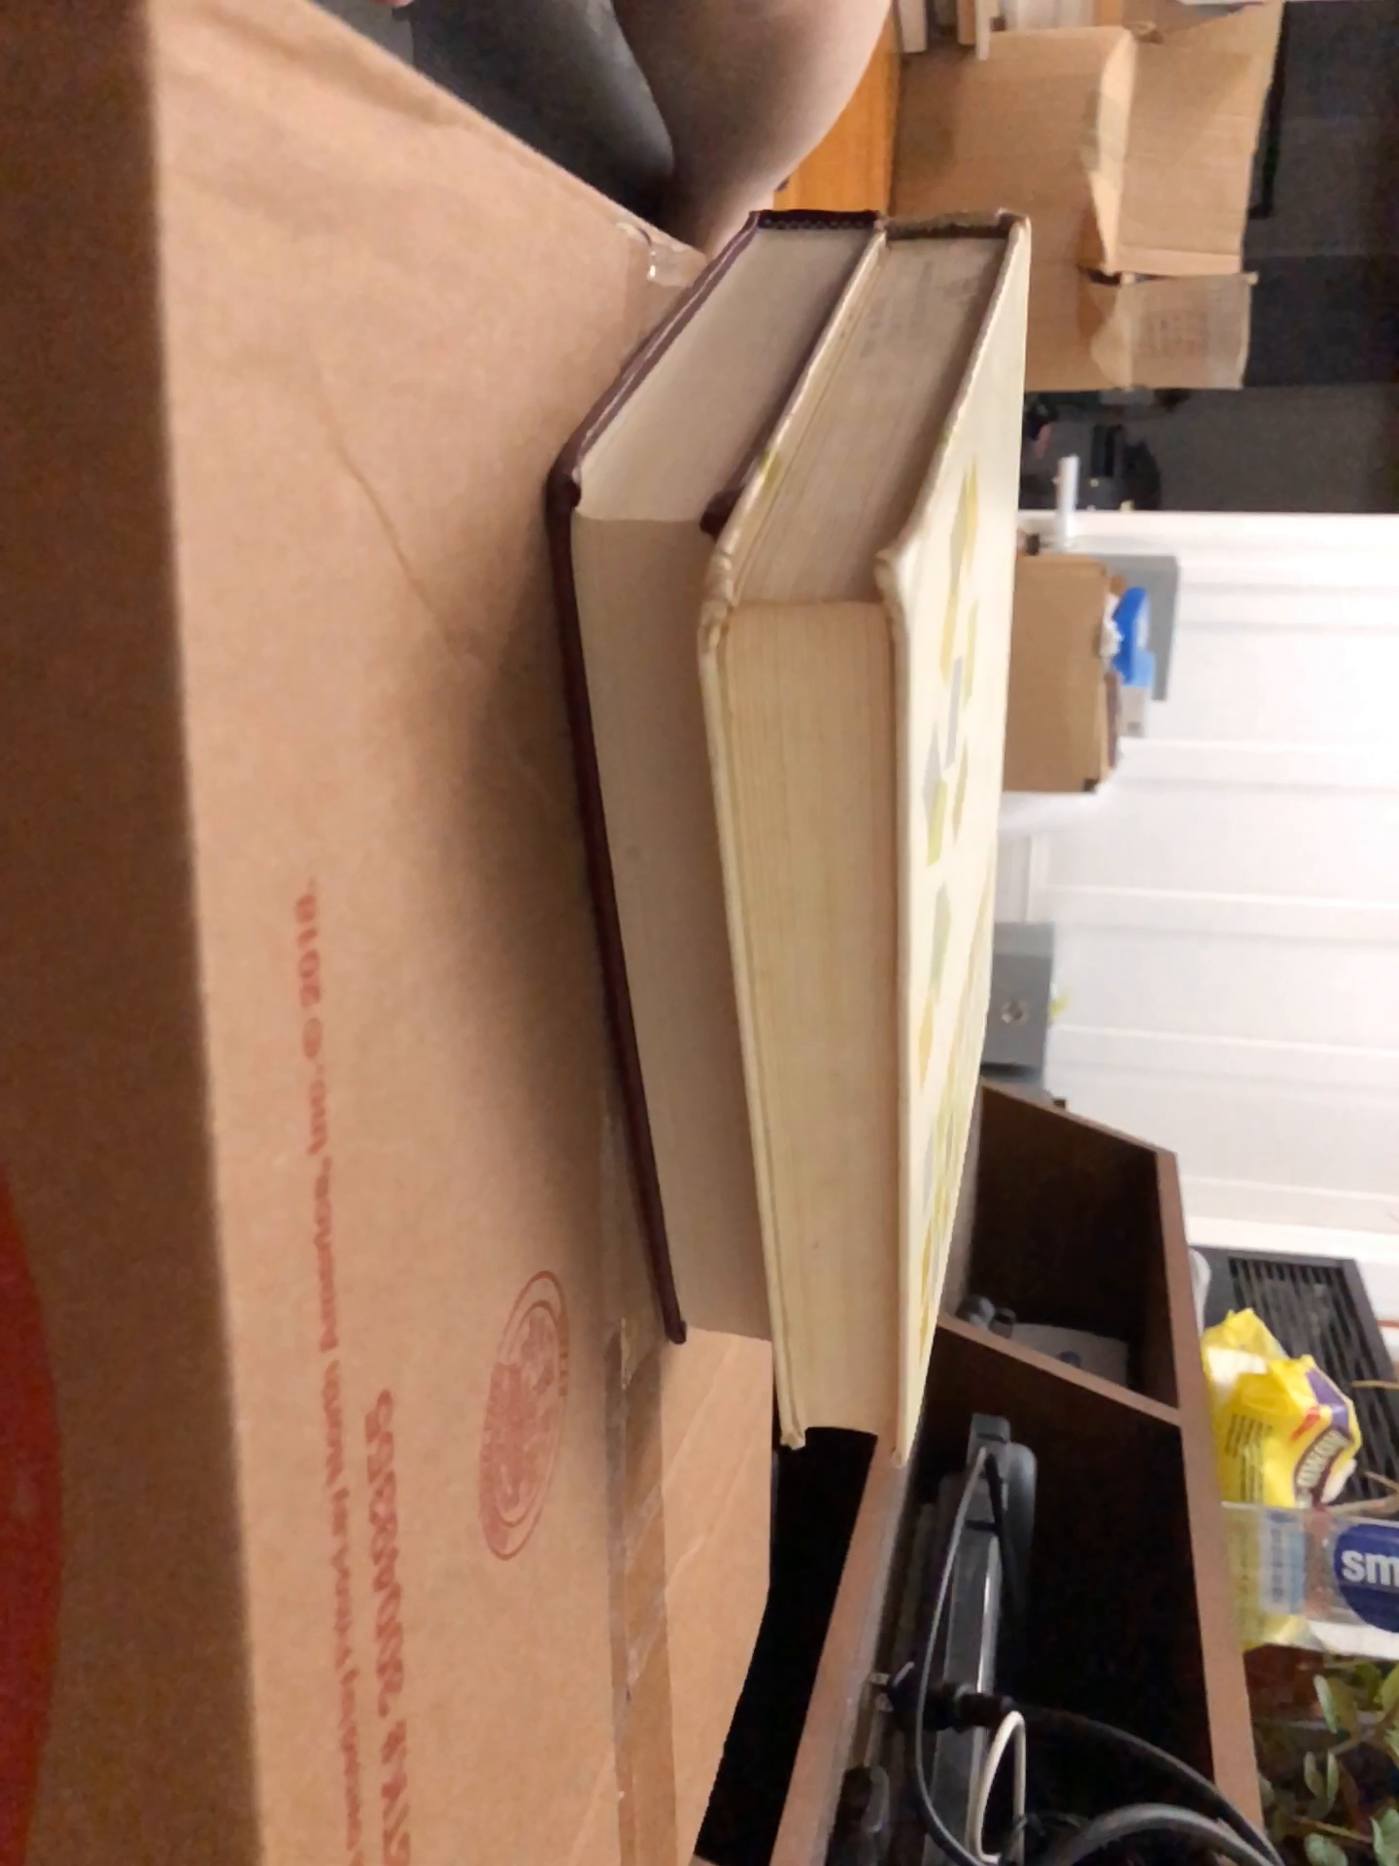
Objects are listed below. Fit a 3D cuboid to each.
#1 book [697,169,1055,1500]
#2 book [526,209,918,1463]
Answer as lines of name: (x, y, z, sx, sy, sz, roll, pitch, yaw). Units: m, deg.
book: (0.047, -0.018, 0.361, 0.181, 0.040, 0.250, -71, 162, -47)
book: (0.019, -0.022, 0.384, 0.181, 0.040, 0.250, -70, 161, -49)
